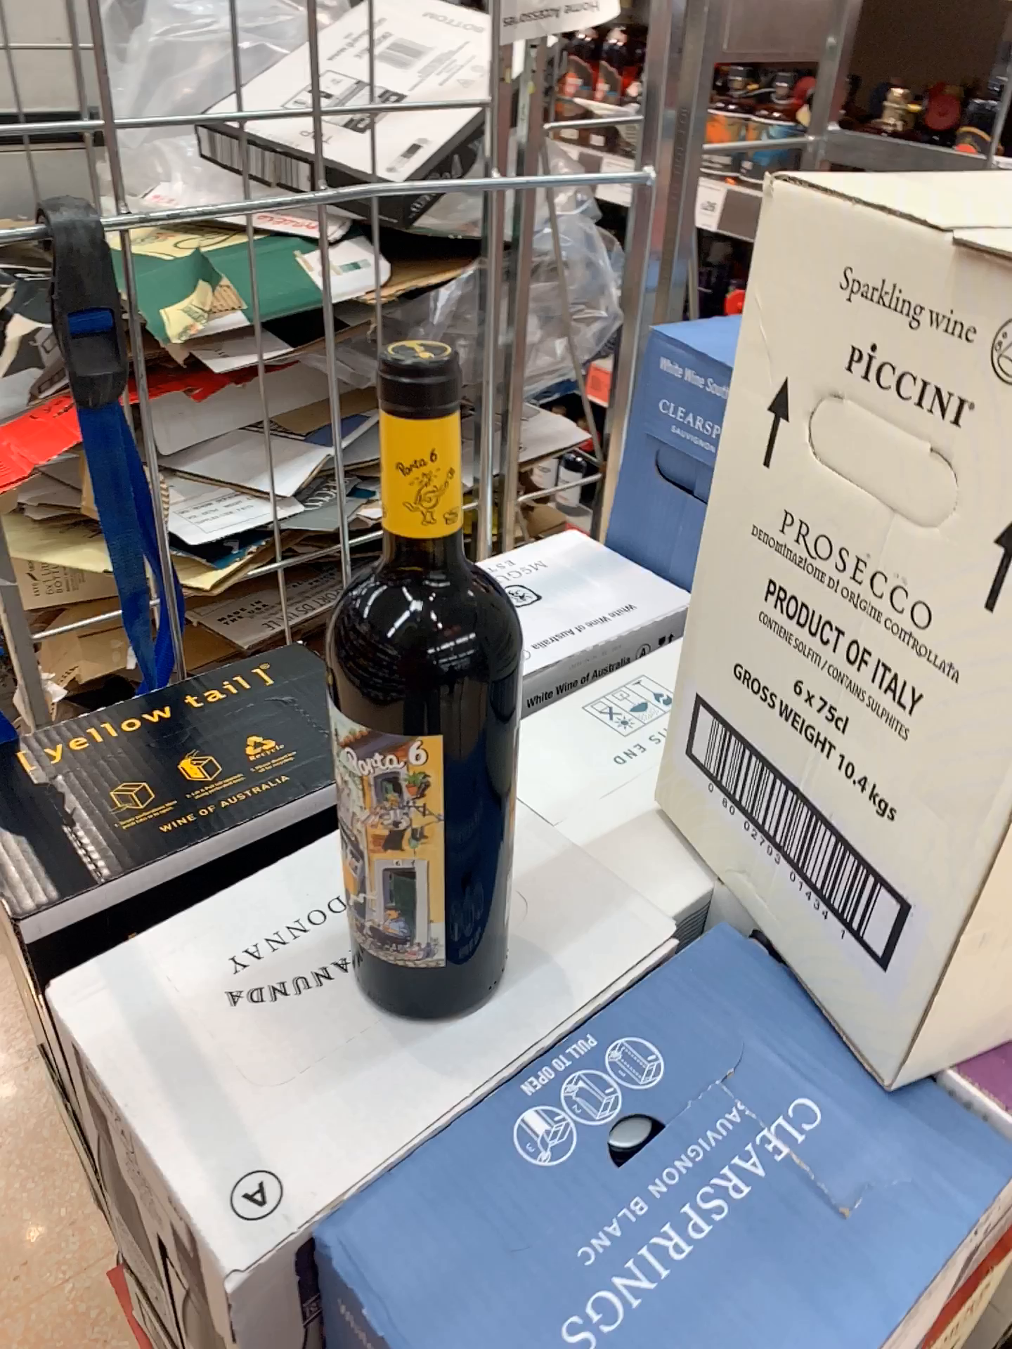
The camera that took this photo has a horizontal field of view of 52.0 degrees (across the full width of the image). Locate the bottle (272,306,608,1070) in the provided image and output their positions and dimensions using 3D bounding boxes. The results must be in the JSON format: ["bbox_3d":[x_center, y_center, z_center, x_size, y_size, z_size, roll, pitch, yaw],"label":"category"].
[{"bbox_3d":[-0.032,0.019,0.414,0.077,0.295,0.079,3,34,-2],"label":"bottle"}]
